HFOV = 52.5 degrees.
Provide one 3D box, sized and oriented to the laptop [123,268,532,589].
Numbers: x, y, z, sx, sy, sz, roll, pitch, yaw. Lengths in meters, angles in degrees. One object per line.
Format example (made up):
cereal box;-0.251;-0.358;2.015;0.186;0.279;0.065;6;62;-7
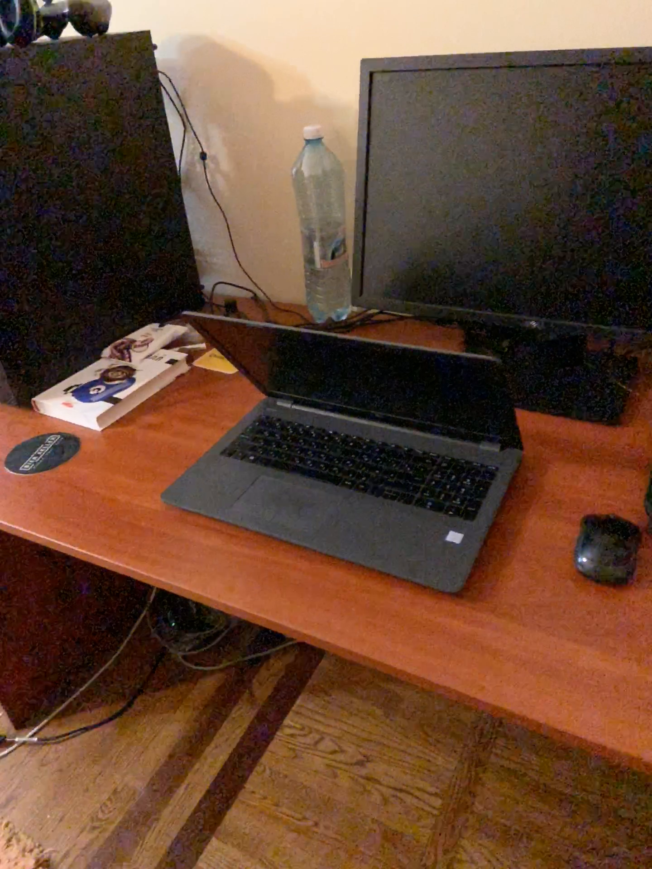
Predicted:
laptop;0.010;-0.033;0.730;0.360;0.192;0.233;12;38;26
